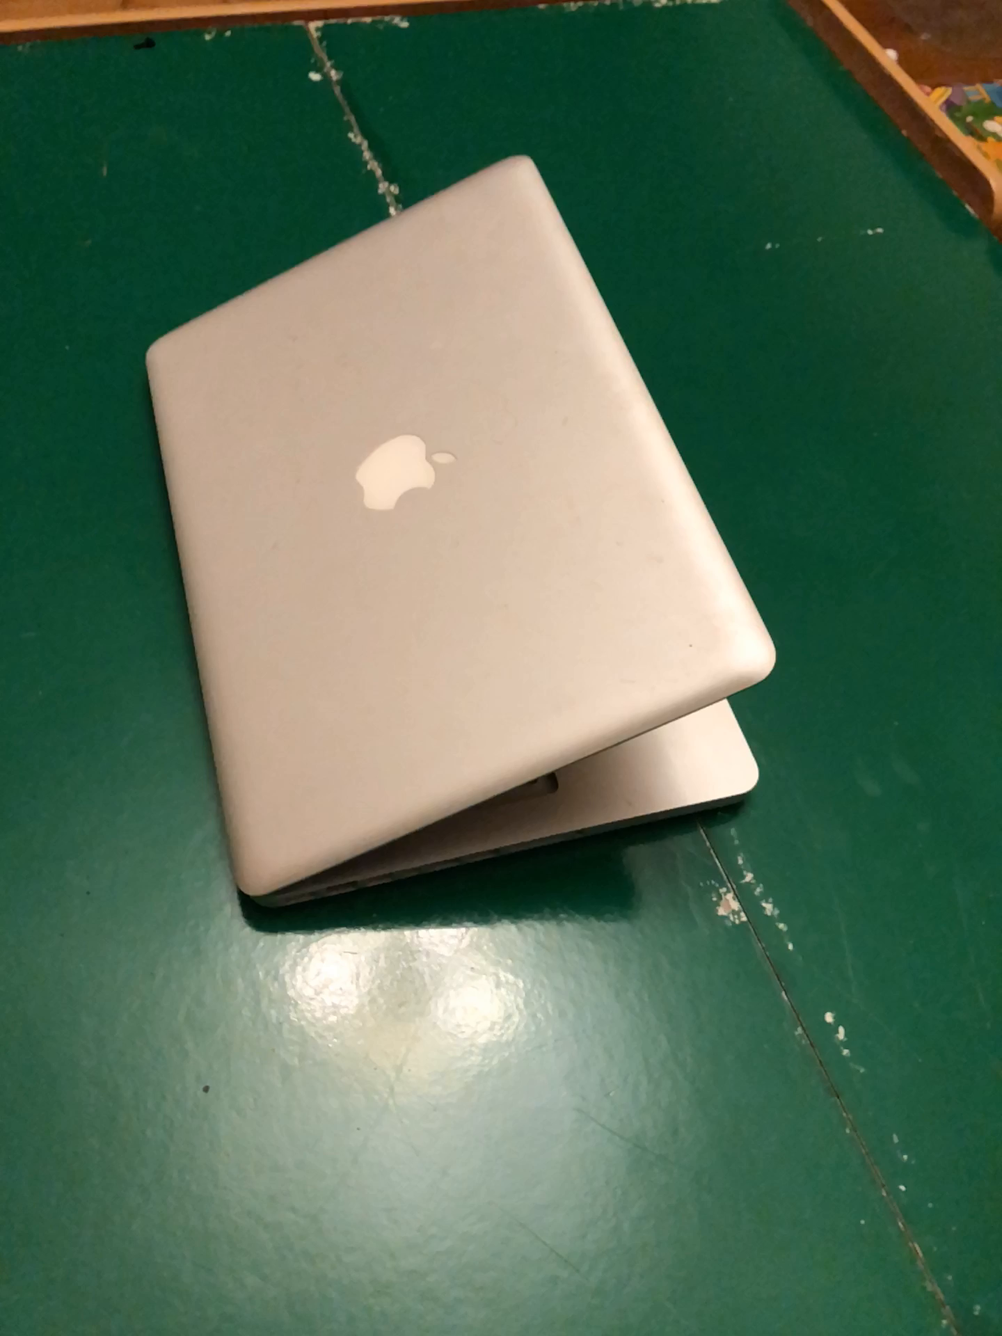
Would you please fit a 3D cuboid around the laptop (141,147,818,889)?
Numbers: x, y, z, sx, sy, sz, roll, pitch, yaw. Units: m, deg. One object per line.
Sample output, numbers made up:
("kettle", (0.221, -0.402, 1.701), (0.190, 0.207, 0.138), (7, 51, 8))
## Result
("laptop", (-0.033, -0.090, 0.495), (0.210, 0.098, 0.316), (-11, 57, -12))
